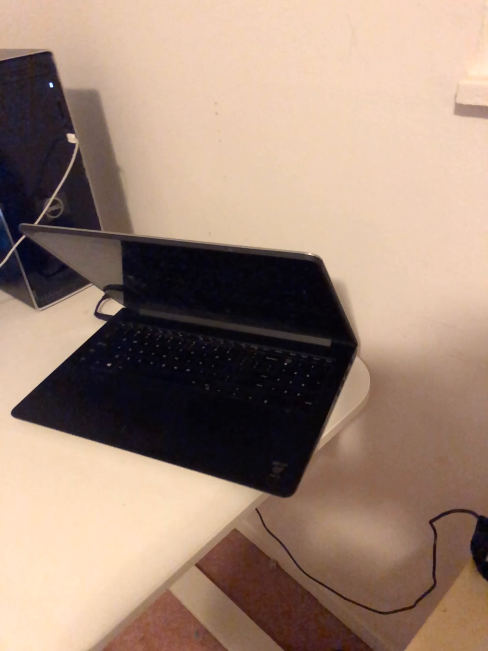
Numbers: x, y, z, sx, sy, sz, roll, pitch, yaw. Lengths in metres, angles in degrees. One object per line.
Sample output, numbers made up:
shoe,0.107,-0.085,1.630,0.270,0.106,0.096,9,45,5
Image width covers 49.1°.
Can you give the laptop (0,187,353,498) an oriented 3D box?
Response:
laptop,-0.086,-0.013,0.638,0.373,0.207,0.252,9,38,25
